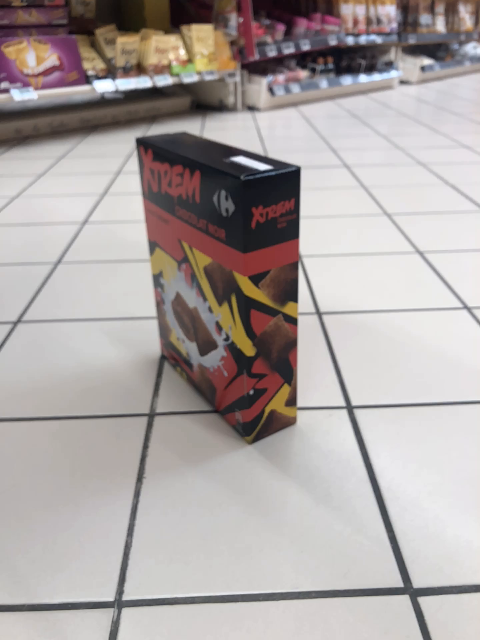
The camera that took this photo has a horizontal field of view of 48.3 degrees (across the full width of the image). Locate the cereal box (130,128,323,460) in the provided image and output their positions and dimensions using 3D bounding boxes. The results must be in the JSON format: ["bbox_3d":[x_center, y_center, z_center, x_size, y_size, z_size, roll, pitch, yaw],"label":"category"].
[{"bbox_3d":[-0.019,-0.035,0.508,0.070,0.249,0.200,-17,32,-27],"label":"cereal box"}]
